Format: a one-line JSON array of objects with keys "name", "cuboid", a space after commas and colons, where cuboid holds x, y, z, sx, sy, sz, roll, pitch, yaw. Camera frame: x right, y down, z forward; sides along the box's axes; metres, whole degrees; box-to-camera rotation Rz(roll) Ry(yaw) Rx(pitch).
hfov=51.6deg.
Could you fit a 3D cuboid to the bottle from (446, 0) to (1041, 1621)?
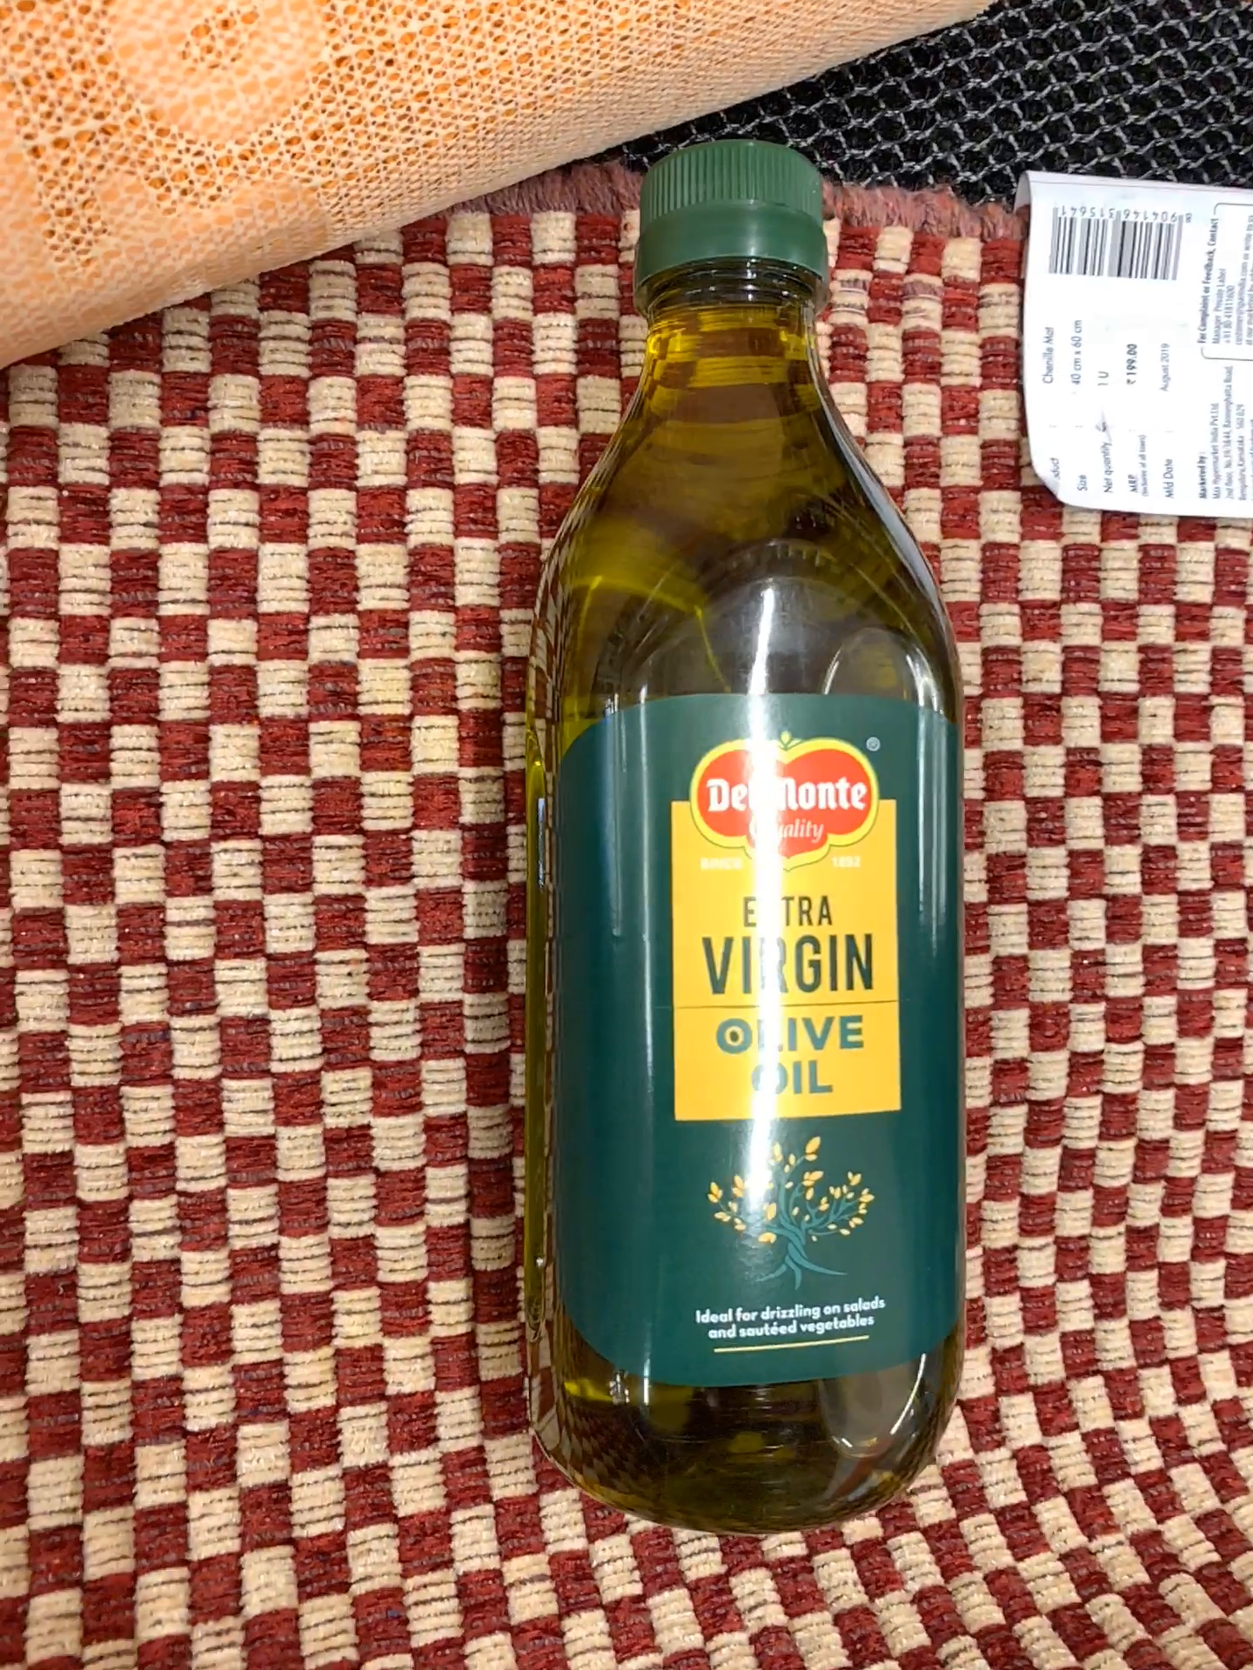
[{"name": "bottle", "cuboid": [0.016, -0.008, 0.243, 0.080, 0.080, 0.250, 1, 90, -20]}]
